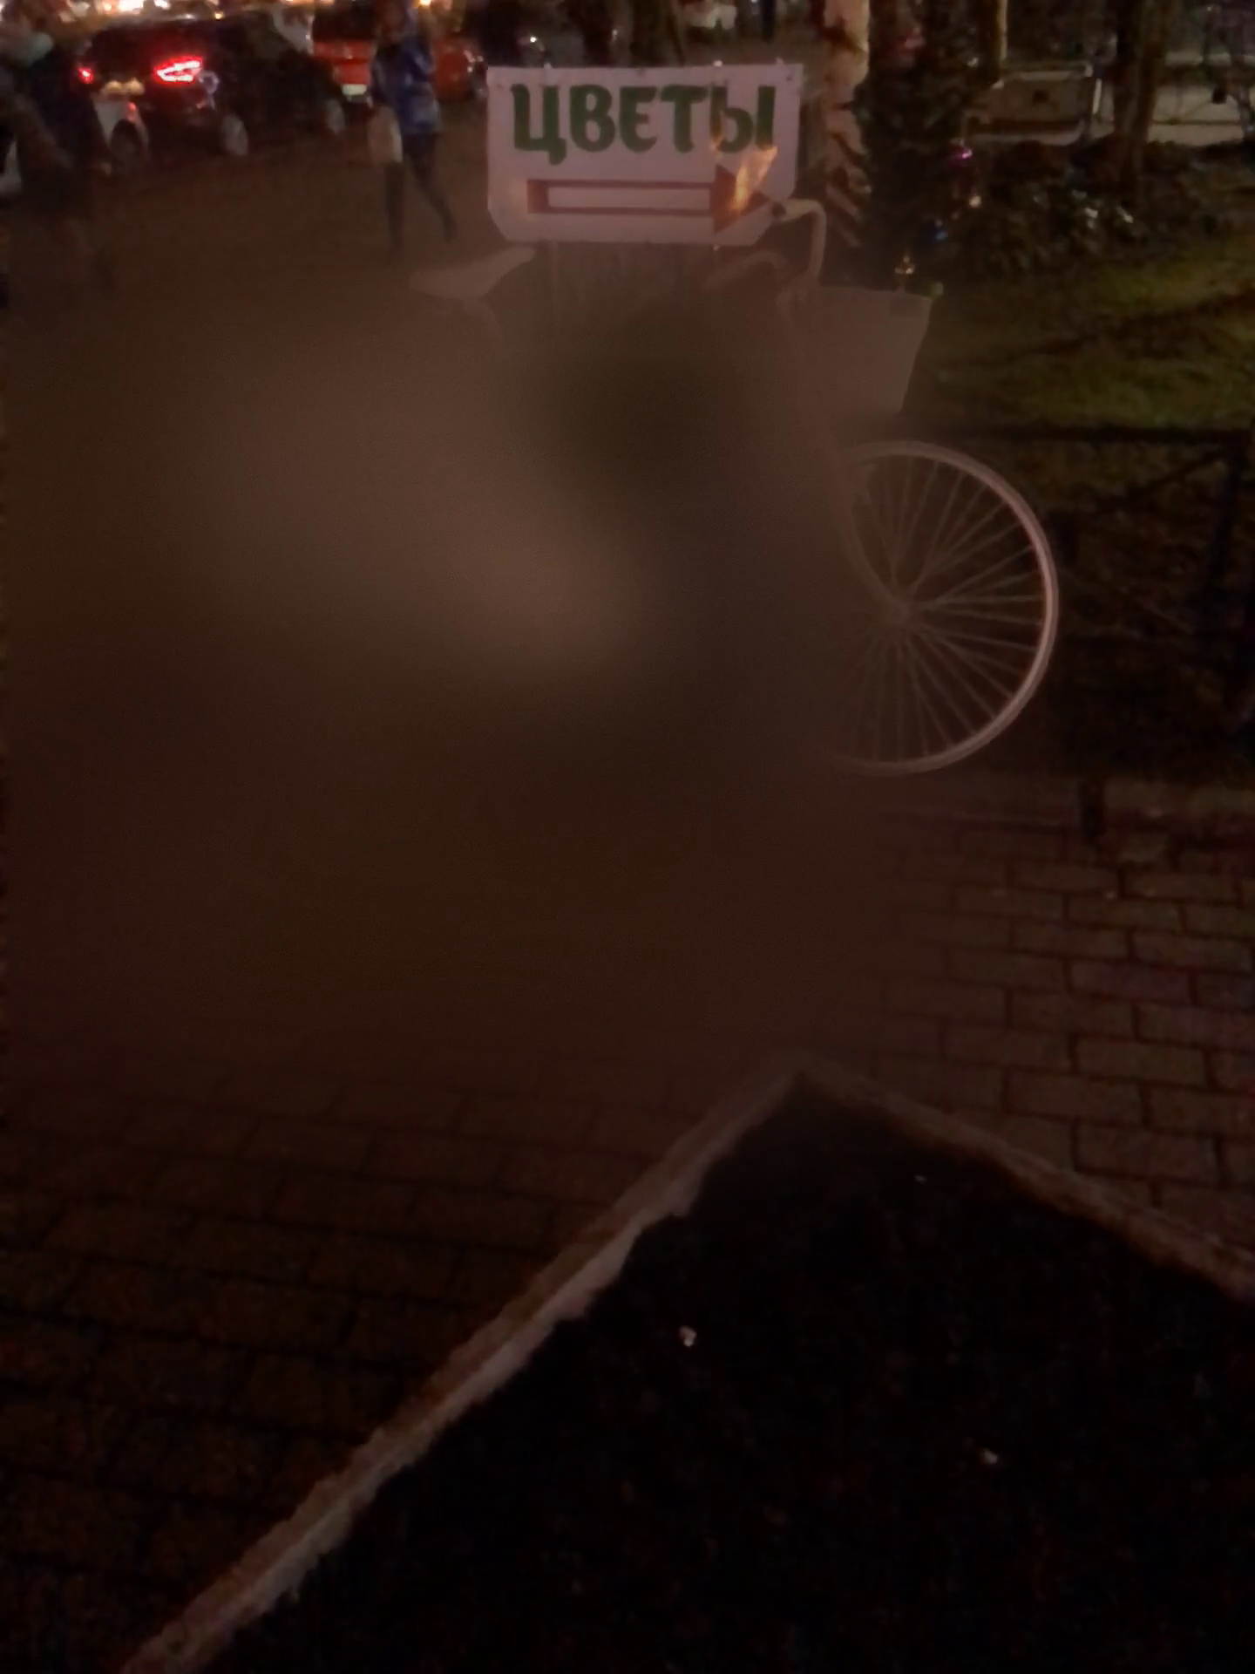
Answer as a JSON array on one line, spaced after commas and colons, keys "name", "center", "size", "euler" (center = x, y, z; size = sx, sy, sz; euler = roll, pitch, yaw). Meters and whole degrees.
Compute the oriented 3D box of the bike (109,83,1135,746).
[{"name": "bike", "center": [-0.010, -0.850, 2.933], "size": [1.828, 1.118, 0.609], "euler": [1, 31, 11]}]
